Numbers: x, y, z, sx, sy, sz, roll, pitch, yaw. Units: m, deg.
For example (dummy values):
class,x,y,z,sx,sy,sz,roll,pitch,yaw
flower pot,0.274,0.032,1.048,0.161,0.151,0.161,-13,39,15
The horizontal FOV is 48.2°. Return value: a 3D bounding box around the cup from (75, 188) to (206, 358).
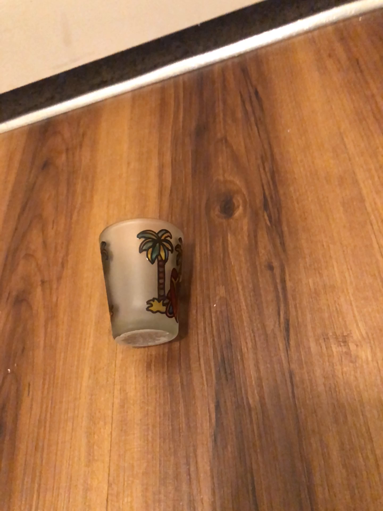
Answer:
class,x,y,z,sx,sy,sz,roll,pitch,yaw
cup,-0.025,0.011,0.229,0.050,0.045,0.070,-13,57,14
